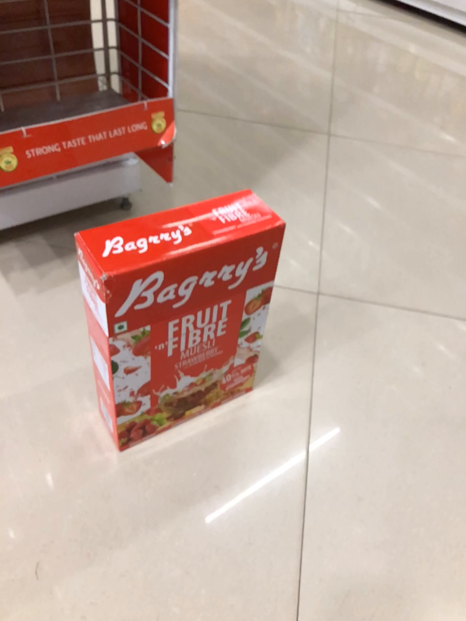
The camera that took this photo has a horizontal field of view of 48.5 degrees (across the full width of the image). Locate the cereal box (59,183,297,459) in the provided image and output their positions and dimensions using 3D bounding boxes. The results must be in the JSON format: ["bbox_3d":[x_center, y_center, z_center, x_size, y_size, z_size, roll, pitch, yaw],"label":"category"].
[{"bbox_3d":[-0.055,0.018,0.547,0.201,0.258,0.070,-21,50,-26],"label":"cereal box"}]
